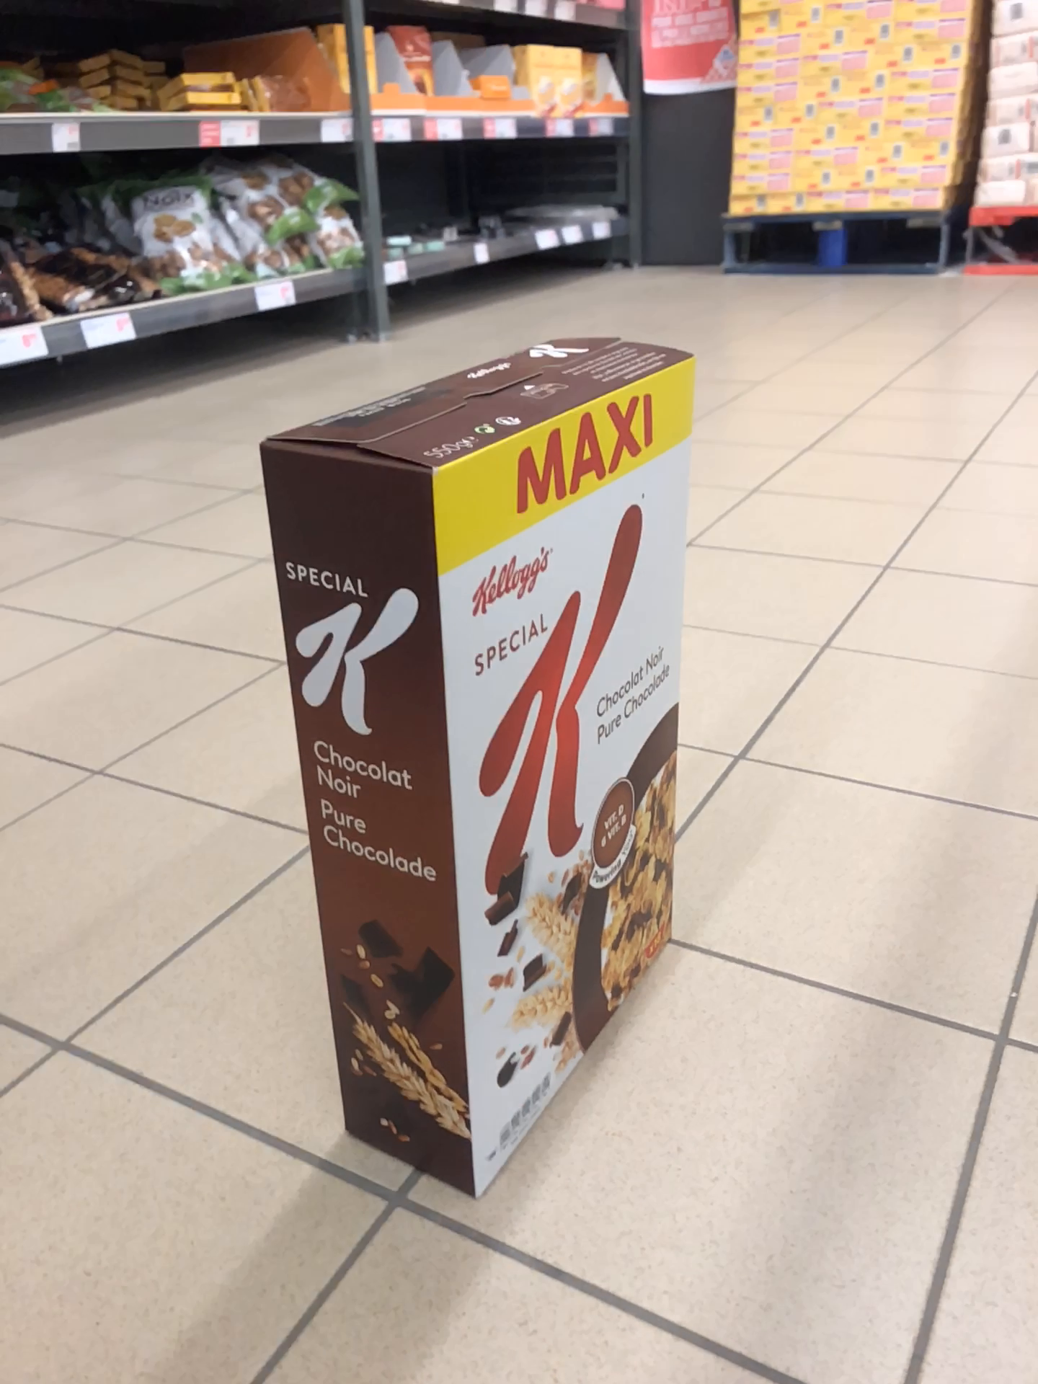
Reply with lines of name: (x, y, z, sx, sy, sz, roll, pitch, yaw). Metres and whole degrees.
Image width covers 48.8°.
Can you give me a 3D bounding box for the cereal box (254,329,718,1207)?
cereal box: (0.004, 0.019, 0.482, 0.070, 0.298, 0.211, 13, 29, 27)
